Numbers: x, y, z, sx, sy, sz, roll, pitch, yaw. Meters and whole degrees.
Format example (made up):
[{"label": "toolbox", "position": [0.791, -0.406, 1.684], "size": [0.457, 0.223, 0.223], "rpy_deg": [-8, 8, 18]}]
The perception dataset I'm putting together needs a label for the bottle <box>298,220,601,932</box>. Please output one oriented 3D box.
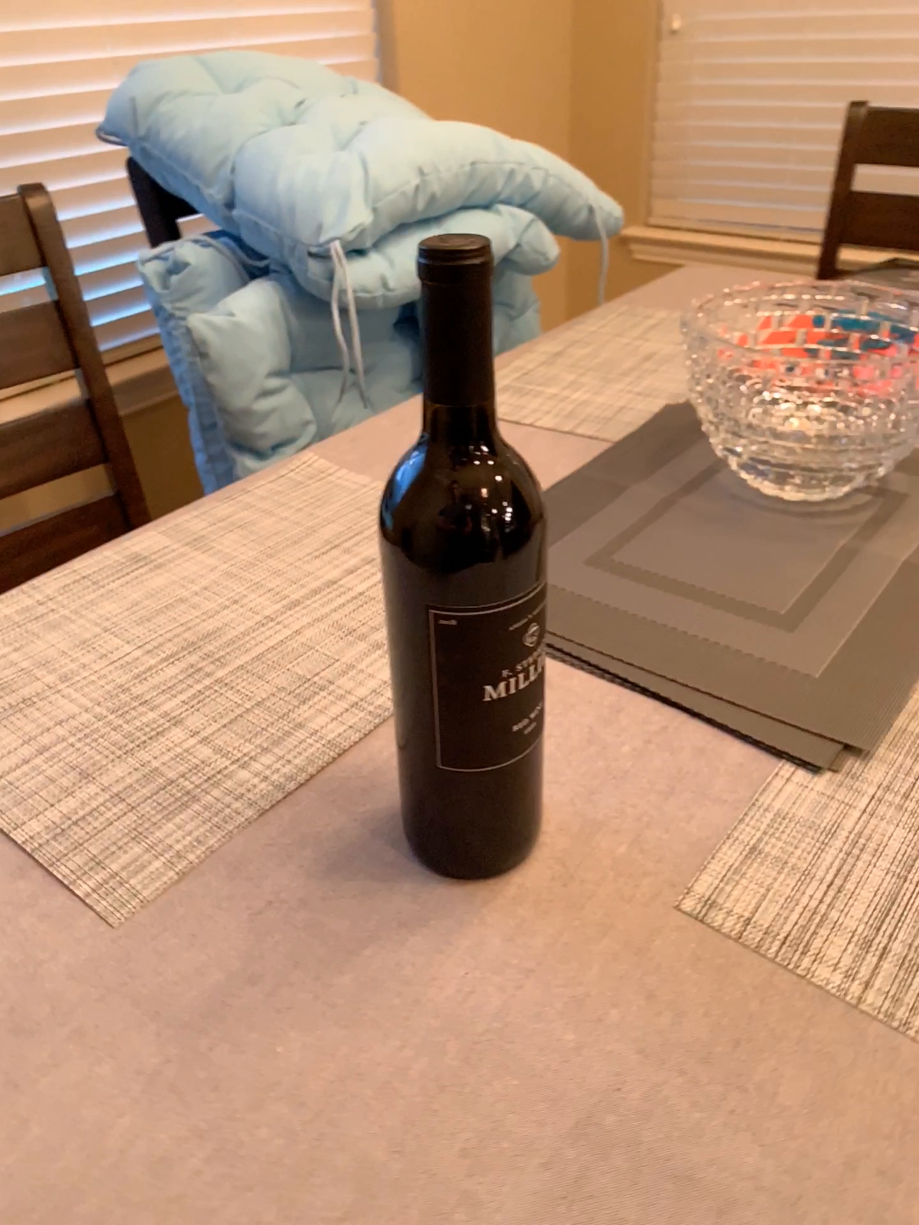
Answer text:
[{"label": "bottle", "position": [0.002, -0.003, 0.436], "size": [0.080, 0.314, 0.080], "rpy_deg": [-2, 33, 1]}]
